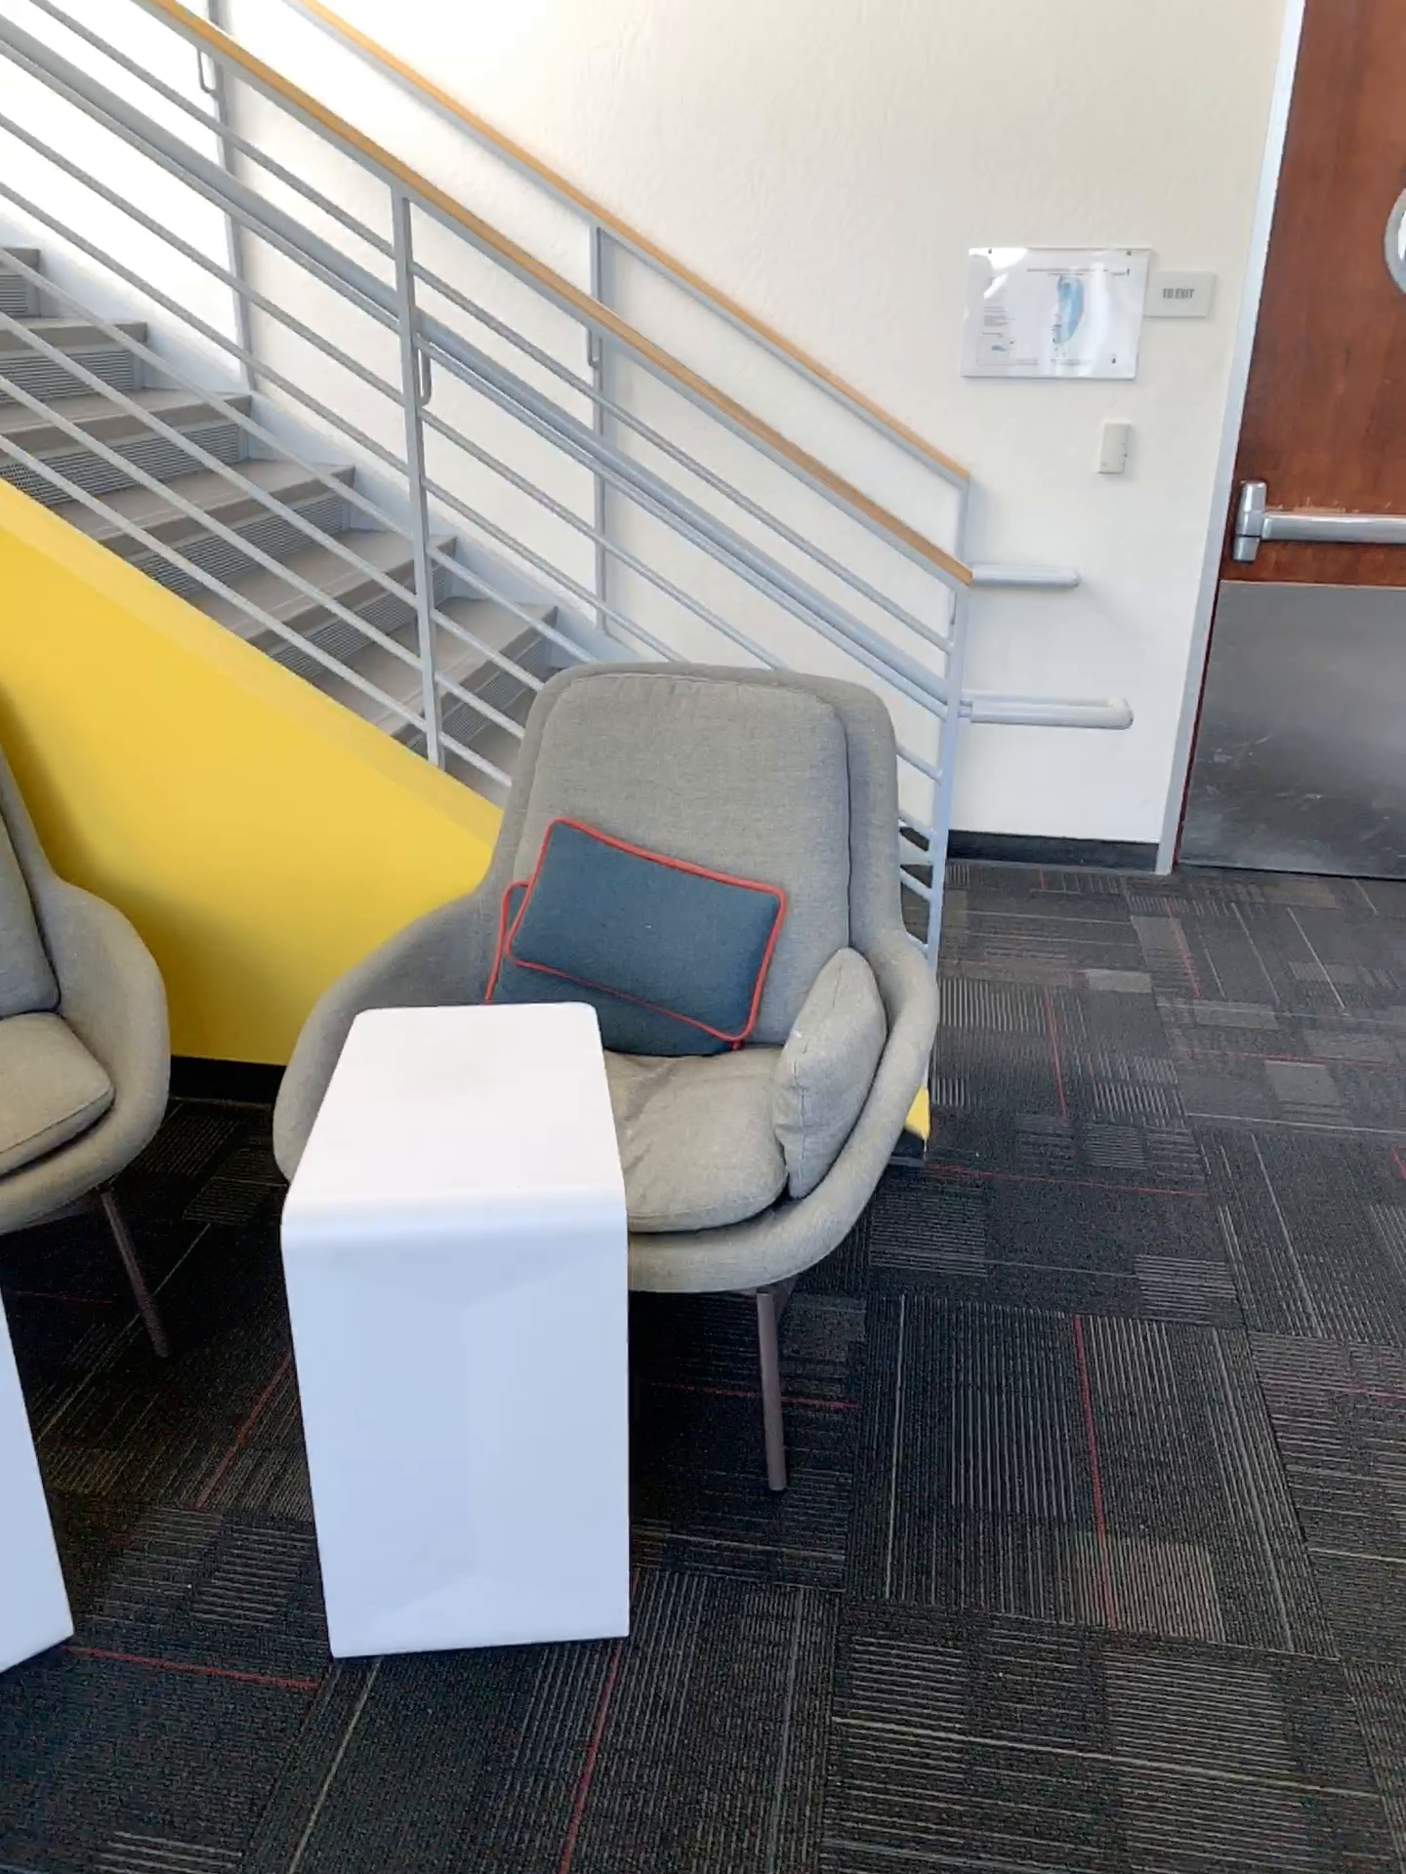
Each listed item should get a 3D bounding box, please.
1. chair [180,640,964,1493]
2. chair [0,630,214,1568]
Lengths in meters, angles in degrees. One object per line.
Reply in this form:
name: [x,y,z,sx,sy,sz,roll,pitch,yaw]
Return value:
chair: [-0.135,0.099,2.295,0.871,0.946,0.883,8,22,18]
chair: [-1.412,0.137,2.268,0.891,1.015,0.844,-15,25,-30]
